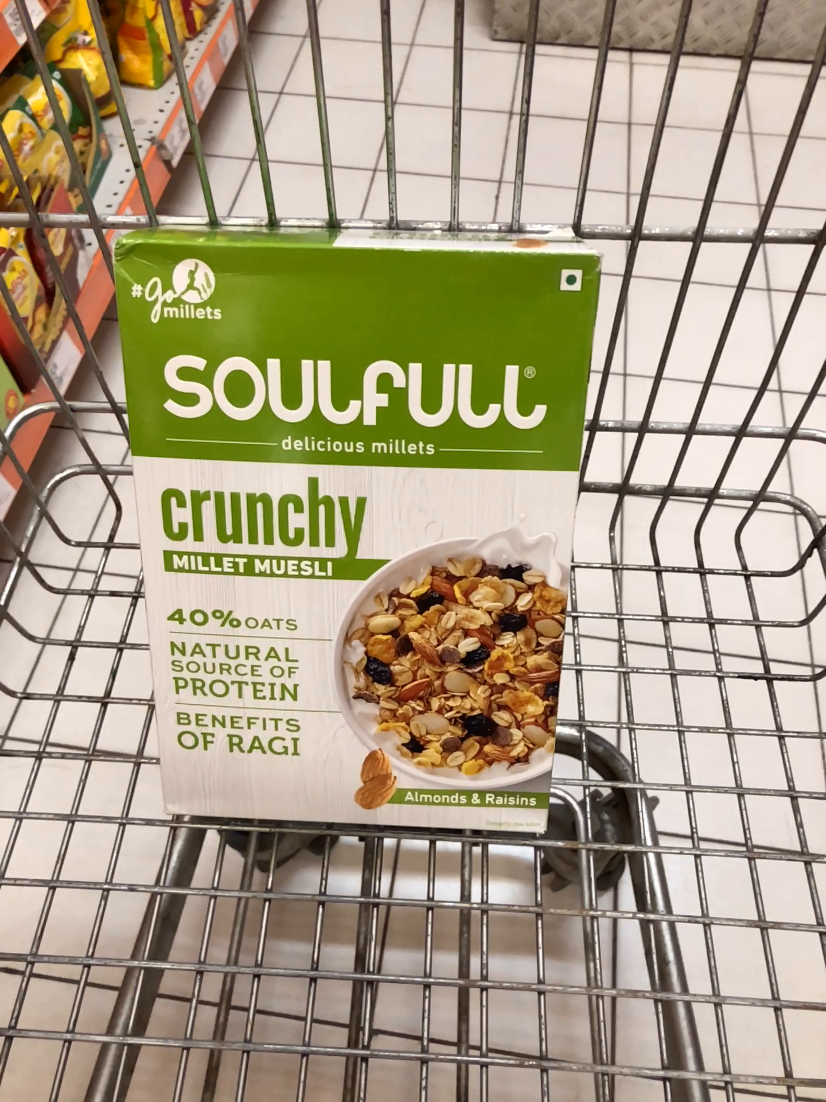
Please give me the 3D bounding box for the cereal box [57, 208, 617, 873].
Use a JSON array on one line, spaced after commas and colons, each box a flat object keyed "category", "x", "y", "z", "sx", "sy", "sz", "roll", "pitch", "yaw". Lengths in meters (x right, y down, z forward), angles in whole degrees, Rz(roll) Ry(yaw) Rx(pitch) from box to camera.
[{"category": "cereal box", "x": -0.026, "y": -0.001, "z": 0.353, "sx": 0.170, "sy": 0.239, "sz": 0.070, "roll": 2, "pitch": 21, "yaw": 2}]
